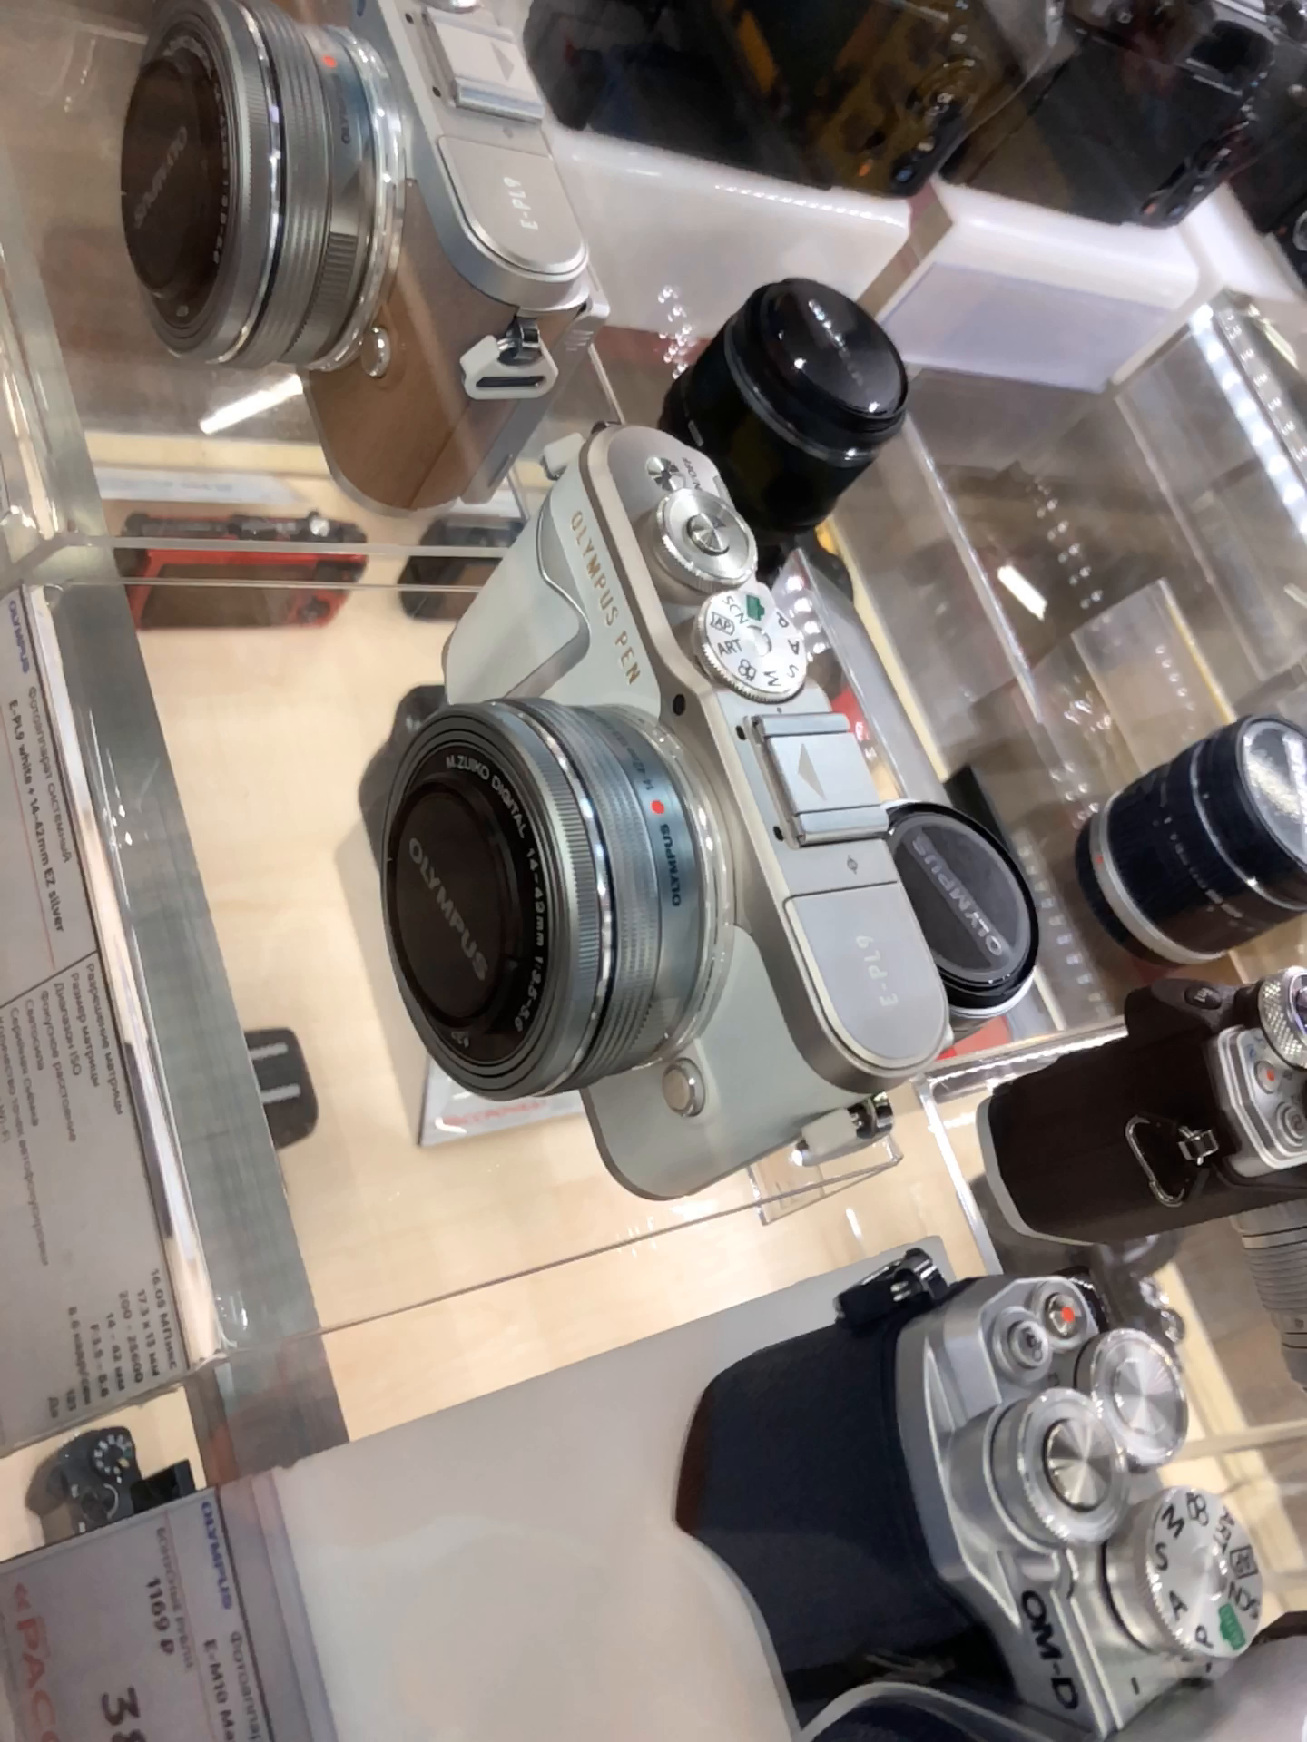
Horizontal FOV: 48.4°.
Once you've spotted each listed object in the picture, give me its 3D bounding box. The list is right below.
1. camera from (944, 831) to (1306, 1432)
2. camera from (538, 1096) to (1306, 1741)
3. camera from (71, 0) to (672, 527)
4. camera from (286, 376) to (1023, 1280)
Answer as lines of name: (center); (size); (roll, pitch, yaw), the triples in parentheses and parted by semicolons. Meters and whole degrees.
camera: (0.131, 0.046, 0.276); (0.115, 0.072, 0.072); (-8, 68, -36)
camera: (0.043, 0.098, 0.173); (0.053, 0.072, 0.114); (-9, 69, -36)
camera: (-0.055, -0.120, 0.259); (0.061, 0.072, 0.087); (-9, 69, -37)
camera: (-0.007, -0.007, 0.230); (0.053, 0.070, 0.114); (-9, 69, -36)
